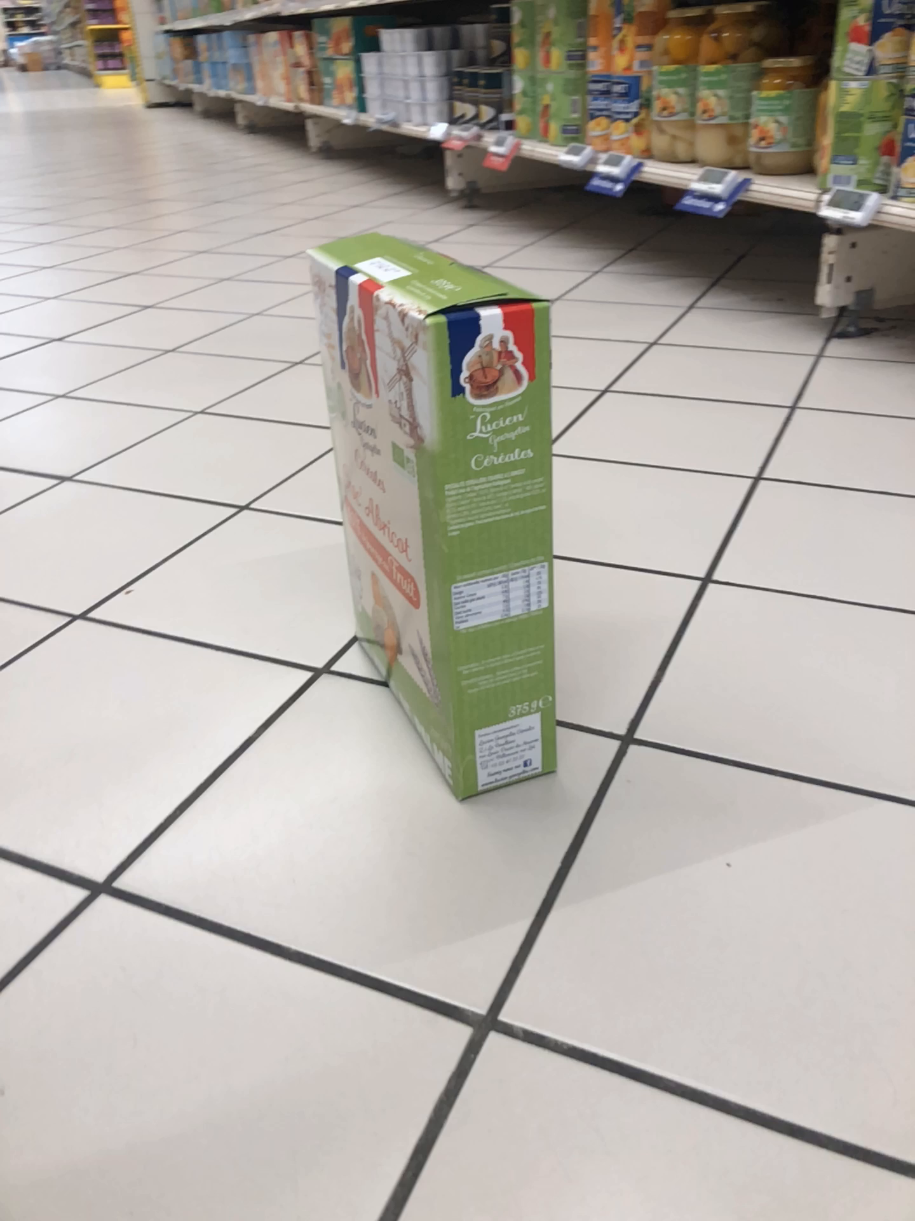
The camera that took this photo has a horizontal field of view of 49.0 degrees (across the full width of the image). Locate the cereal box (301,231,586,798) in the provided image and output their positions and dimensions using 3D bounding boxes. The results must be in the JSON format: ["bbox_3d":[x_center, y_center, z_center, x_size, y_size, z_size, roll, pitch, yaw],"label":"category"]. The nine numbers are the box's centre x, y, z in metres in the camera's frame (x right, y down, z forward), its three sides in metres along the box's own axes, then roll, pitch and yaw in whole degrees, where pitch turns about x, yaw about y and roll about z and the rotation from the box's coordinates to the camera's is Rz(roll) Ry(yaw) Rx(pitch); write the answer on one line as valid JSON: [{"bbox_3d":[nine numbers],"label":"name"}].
[{"bbox_3d":[-0.012,-0.062,0.542,0.070,0.239,0.201,-13,30,-18],"label":"cereal box"}]
